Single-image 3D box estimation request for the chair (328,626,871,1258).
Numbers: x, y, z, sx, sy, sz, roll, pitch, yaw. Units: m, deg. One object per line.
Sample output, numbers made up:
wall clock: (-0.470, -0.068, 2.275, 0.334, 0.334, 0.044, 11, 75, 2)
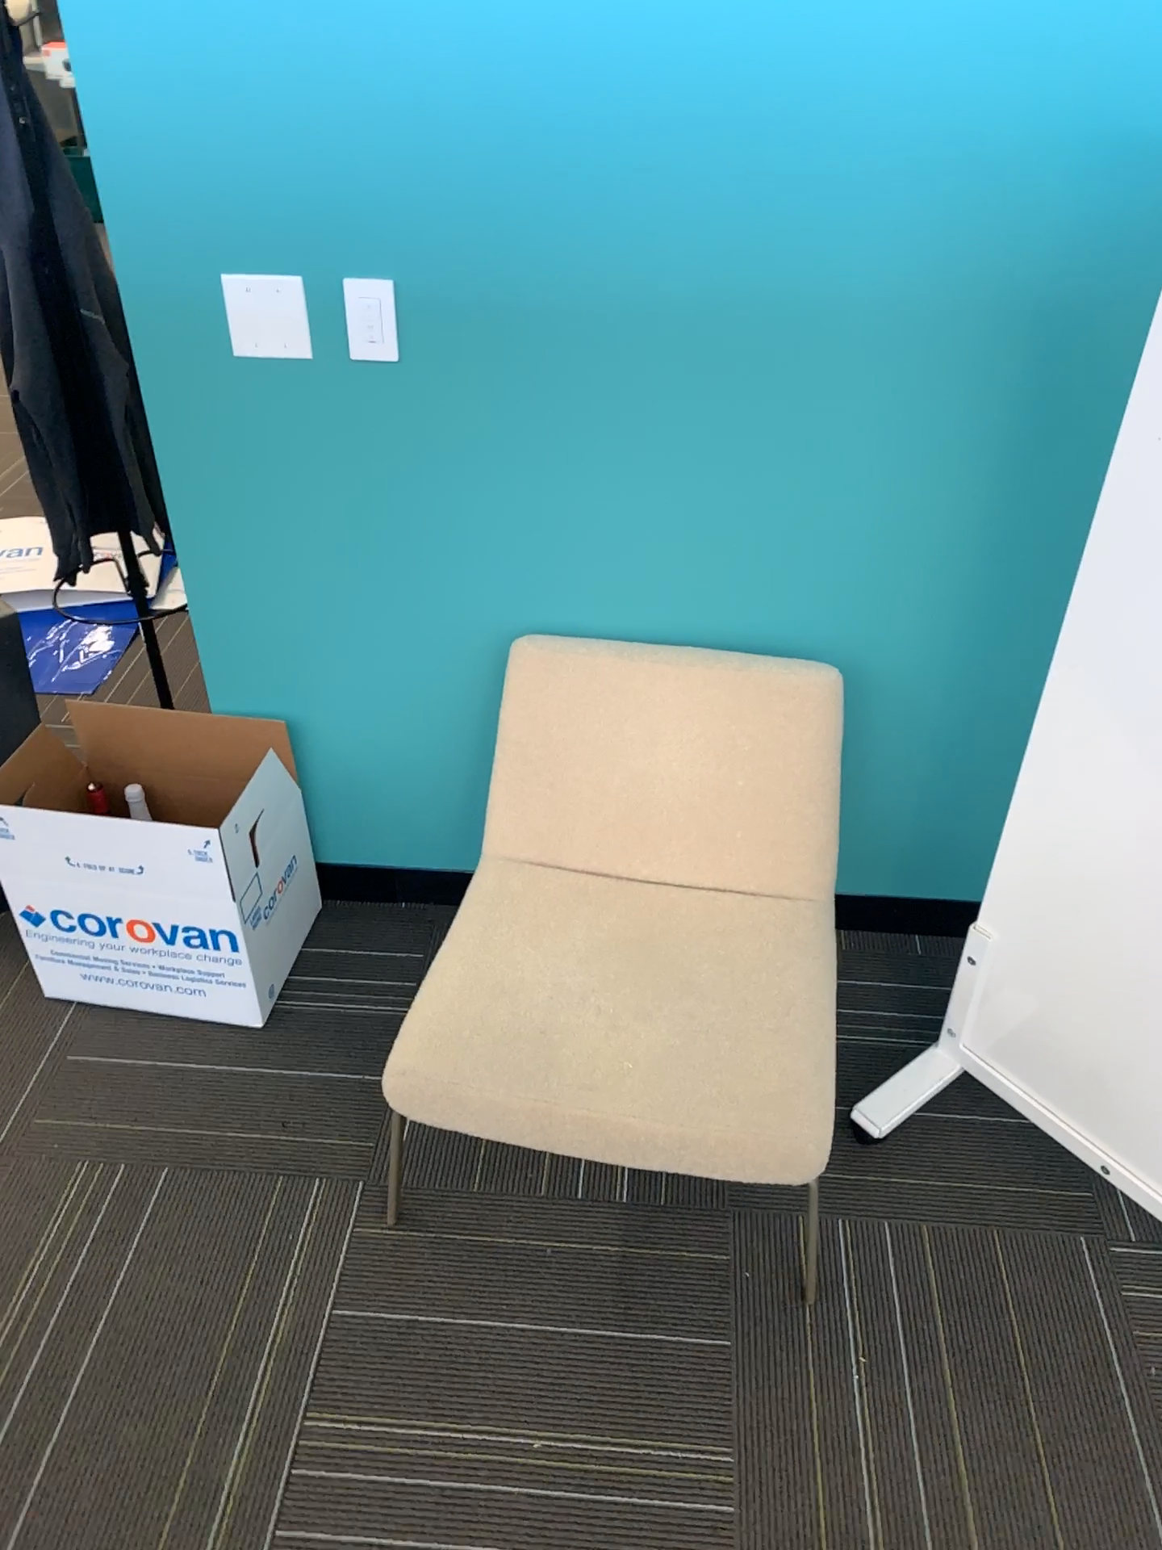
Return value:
chair: (0.072, 0.222, 1.884, 0.660, 0.567, 0.734, 6, 37, 8)
